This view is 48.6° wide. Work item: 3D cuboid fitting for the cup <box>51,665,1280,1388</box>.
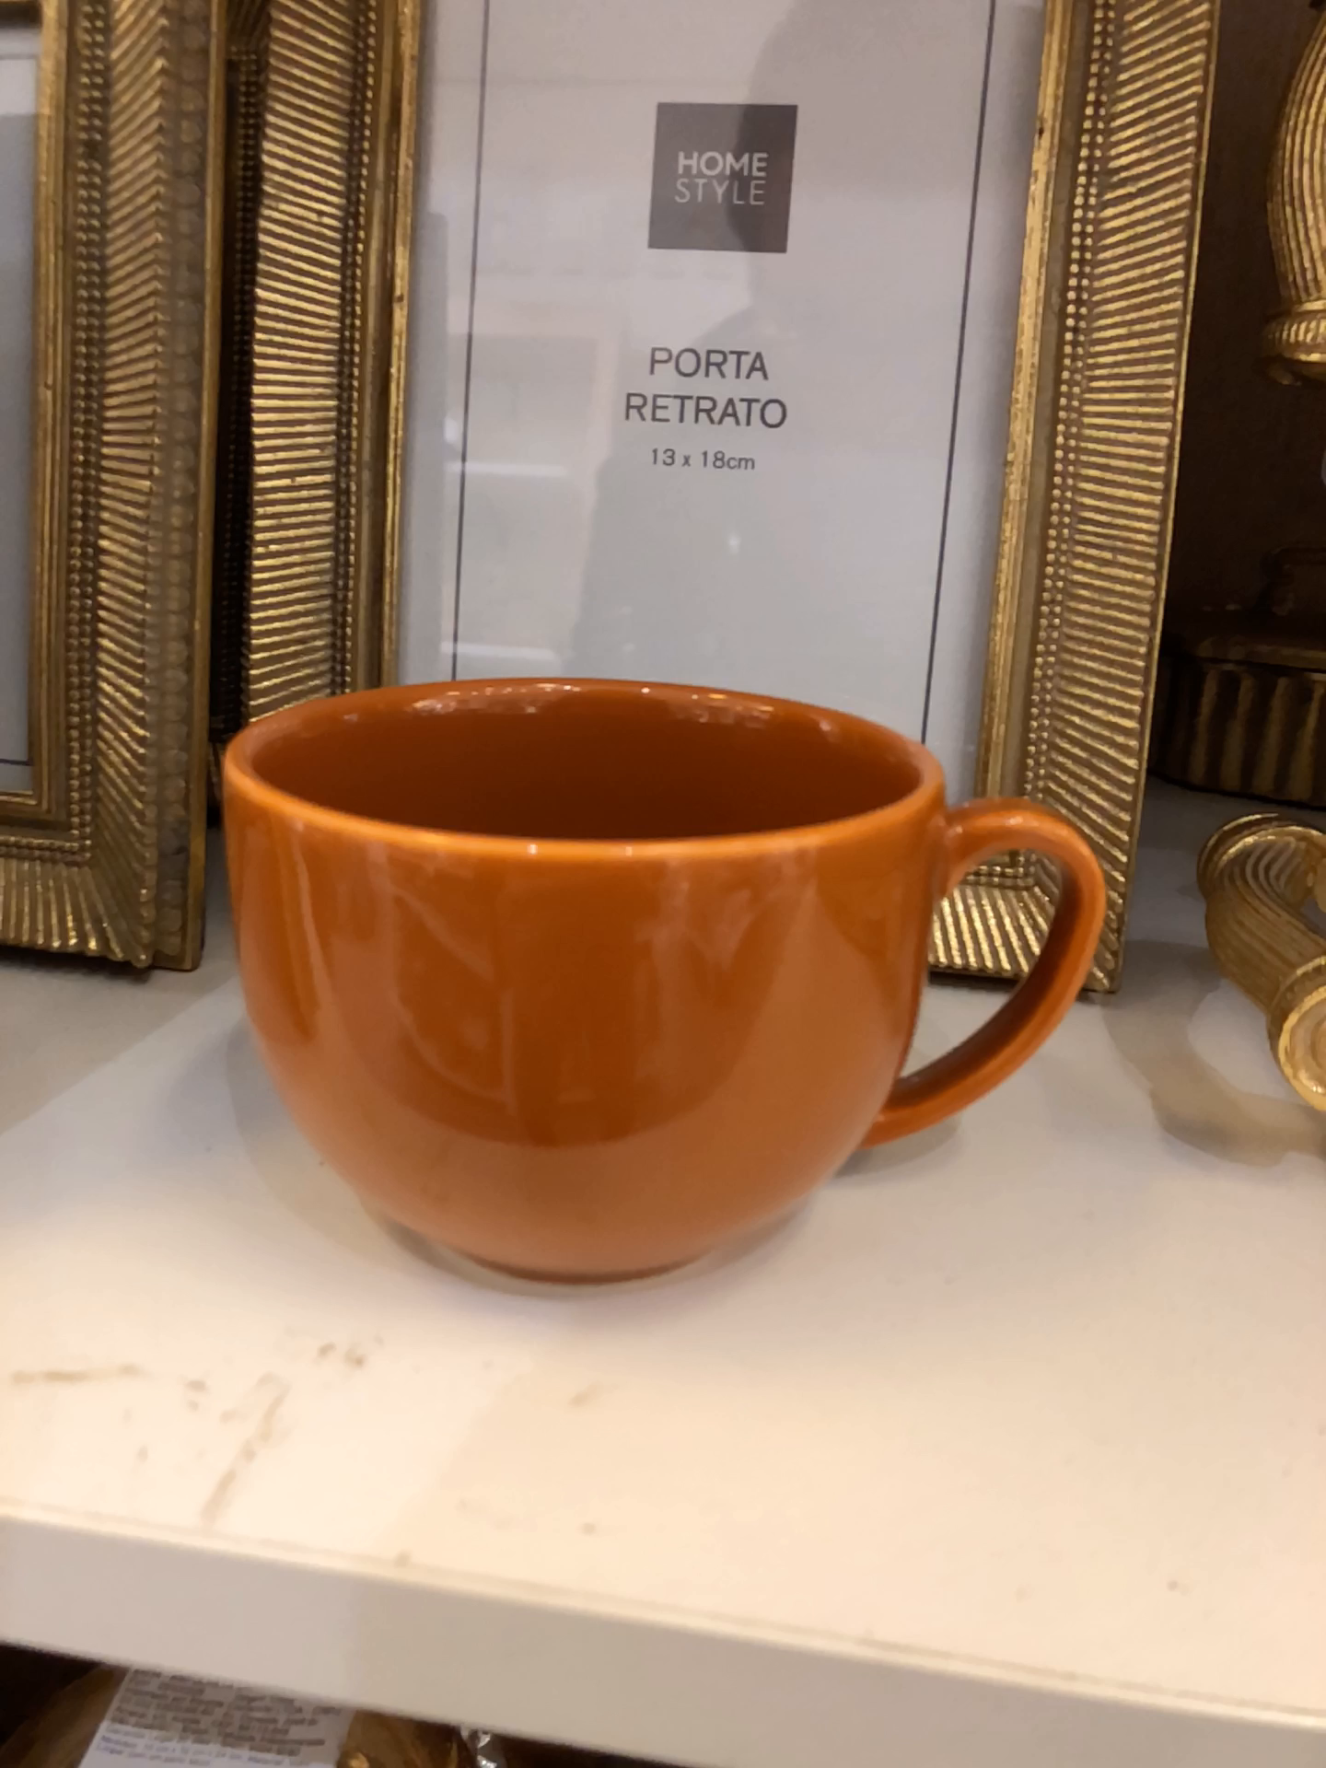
[{"bbox_3d":[-0.002,0.010,0.195,0.120,0.060,0.091,0,20,-5],"label":"cup"}]
